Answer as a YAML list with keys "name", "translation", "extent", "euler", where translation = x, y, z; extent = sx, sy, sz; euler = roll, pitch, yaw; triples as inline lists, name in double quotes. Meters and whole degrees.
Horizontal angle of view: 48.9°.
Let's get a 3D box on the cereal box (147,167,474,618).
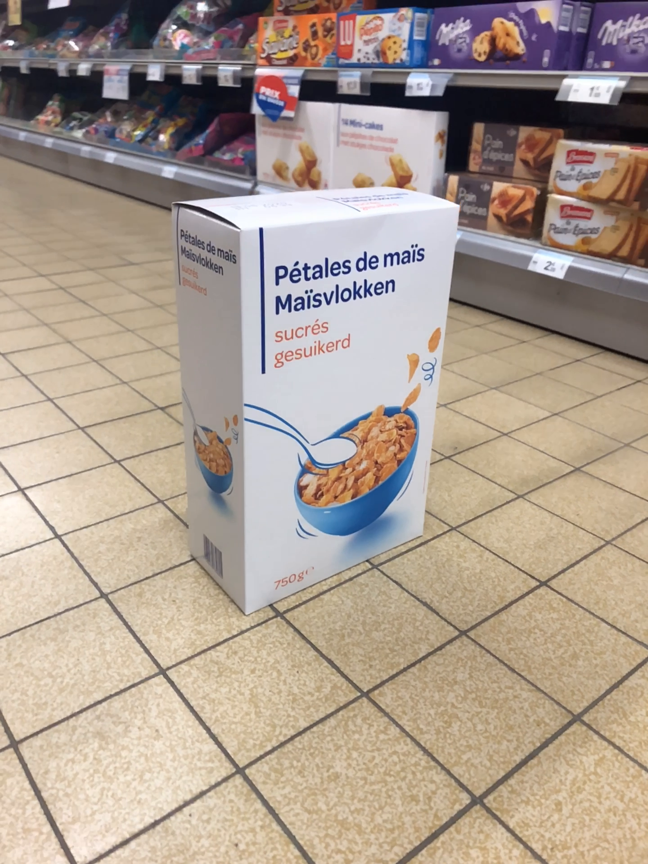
- name: "cereal box"
  translation: [-0.011, -0.041, 0.558]
  extent: [0.201, 0.298, 0.110]
  euler: [-16, 31, -33]
